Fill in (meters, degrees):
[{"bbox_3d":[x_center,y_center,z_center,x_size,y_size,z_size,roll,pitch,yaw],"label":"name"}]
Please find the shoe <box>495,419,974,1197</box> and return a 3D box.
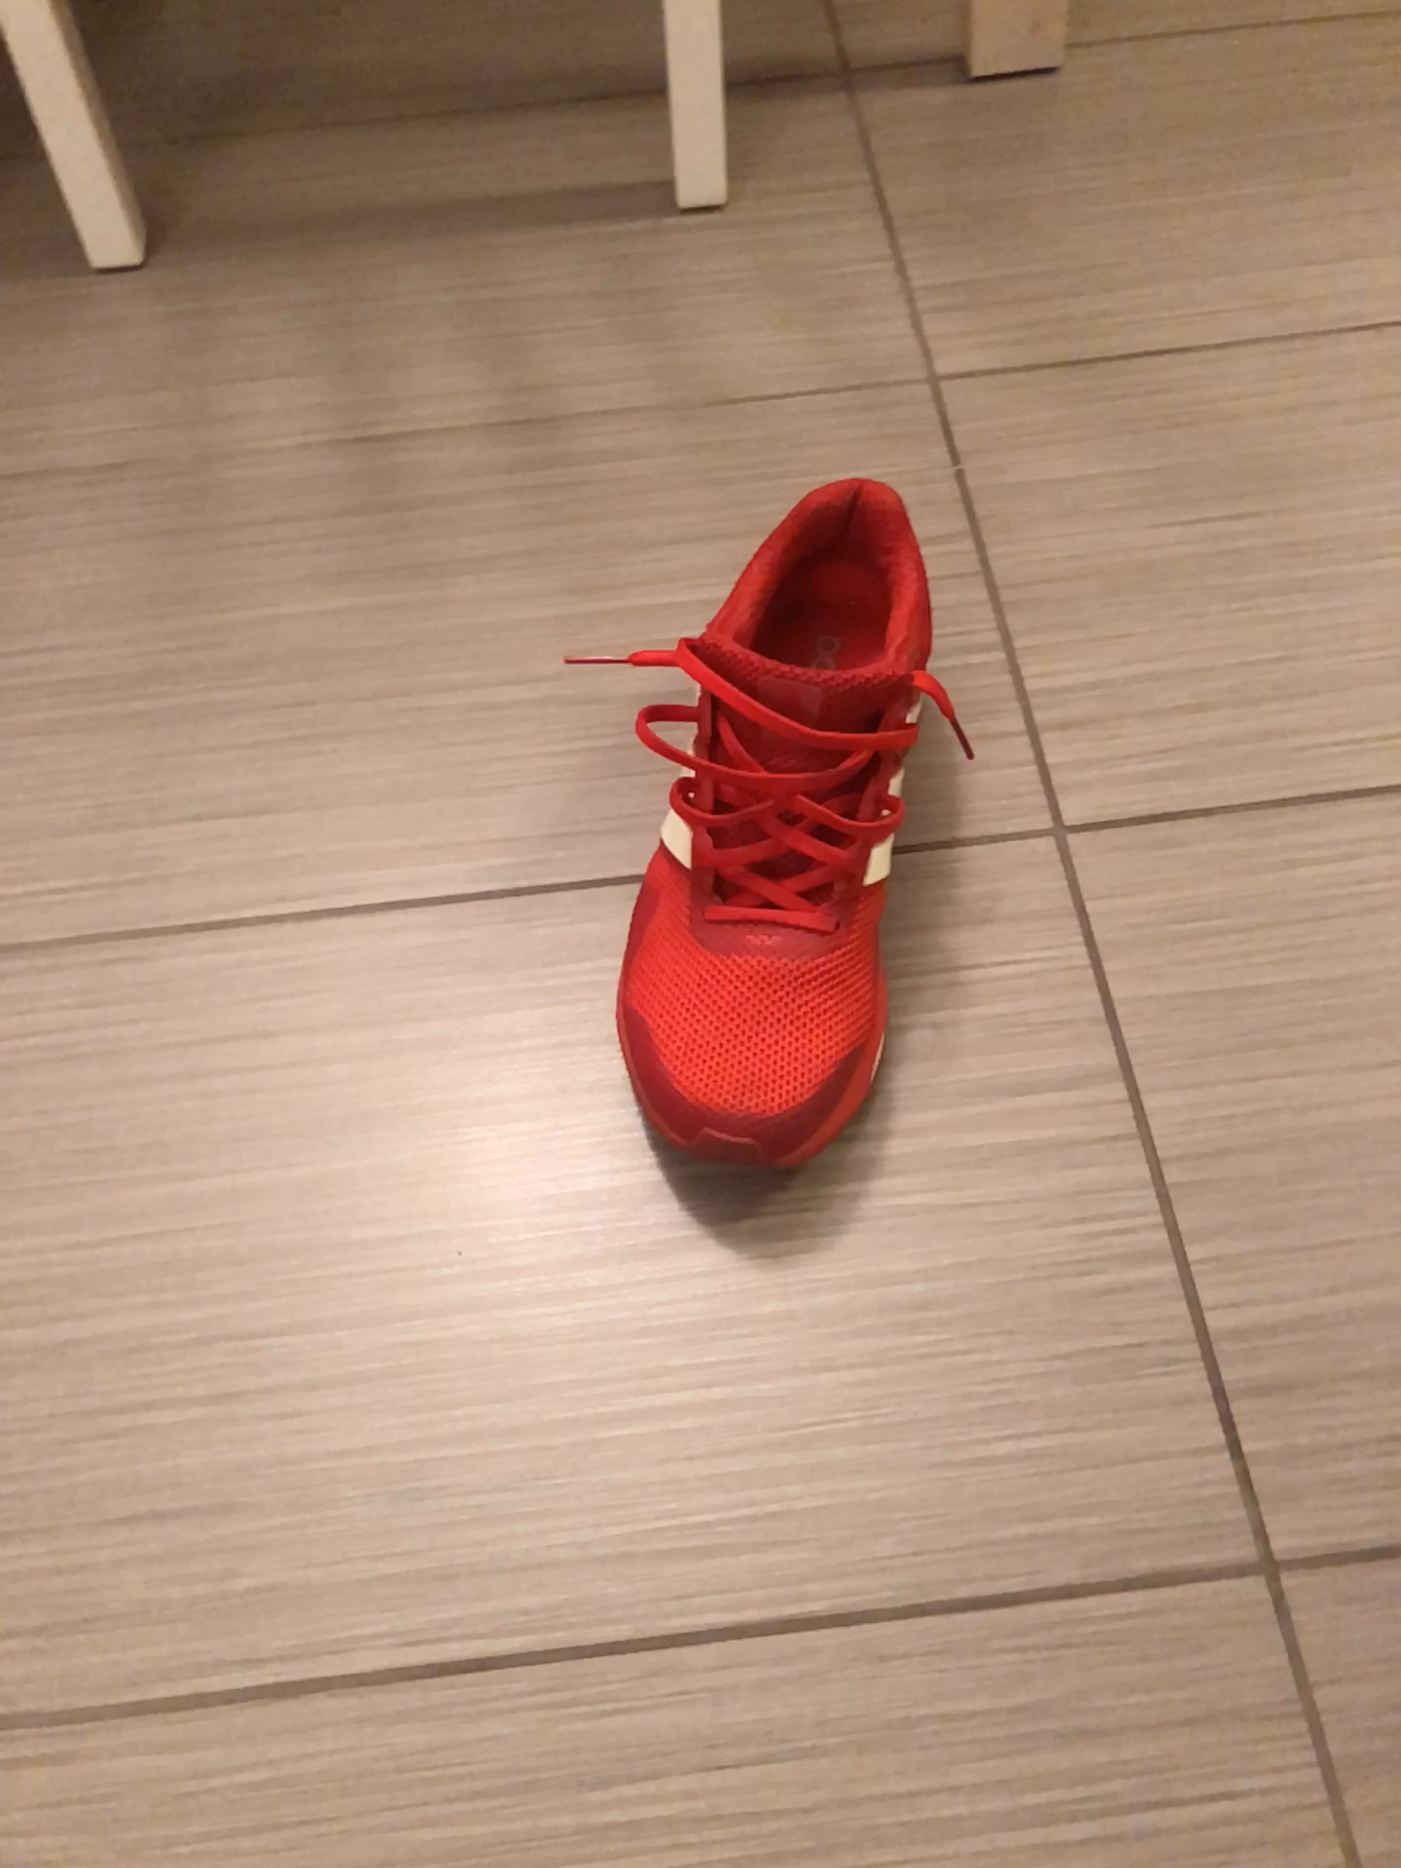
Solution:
[{"bbox_3d":[0.026,-0.060,0.606,0.120,0.100,0.291,9,59,9],"label":"shoe"}]
